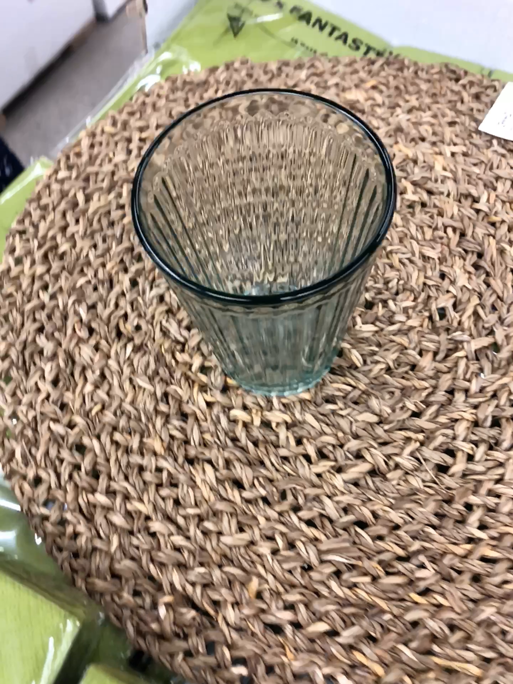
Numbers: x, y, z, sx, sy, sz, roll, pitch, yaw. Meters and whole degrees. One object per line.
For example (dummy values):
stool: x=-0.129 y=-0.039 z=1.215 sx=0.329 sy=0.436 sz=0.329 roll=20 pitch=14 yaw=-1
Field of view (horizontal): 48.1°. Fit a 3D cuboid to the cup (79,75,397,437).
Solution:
cup: x=0.001 y=-0.024 z=0.208 sx=0.080 sy=0.100 sz=0.080 roll=-1 pitch=62 yaw=2
